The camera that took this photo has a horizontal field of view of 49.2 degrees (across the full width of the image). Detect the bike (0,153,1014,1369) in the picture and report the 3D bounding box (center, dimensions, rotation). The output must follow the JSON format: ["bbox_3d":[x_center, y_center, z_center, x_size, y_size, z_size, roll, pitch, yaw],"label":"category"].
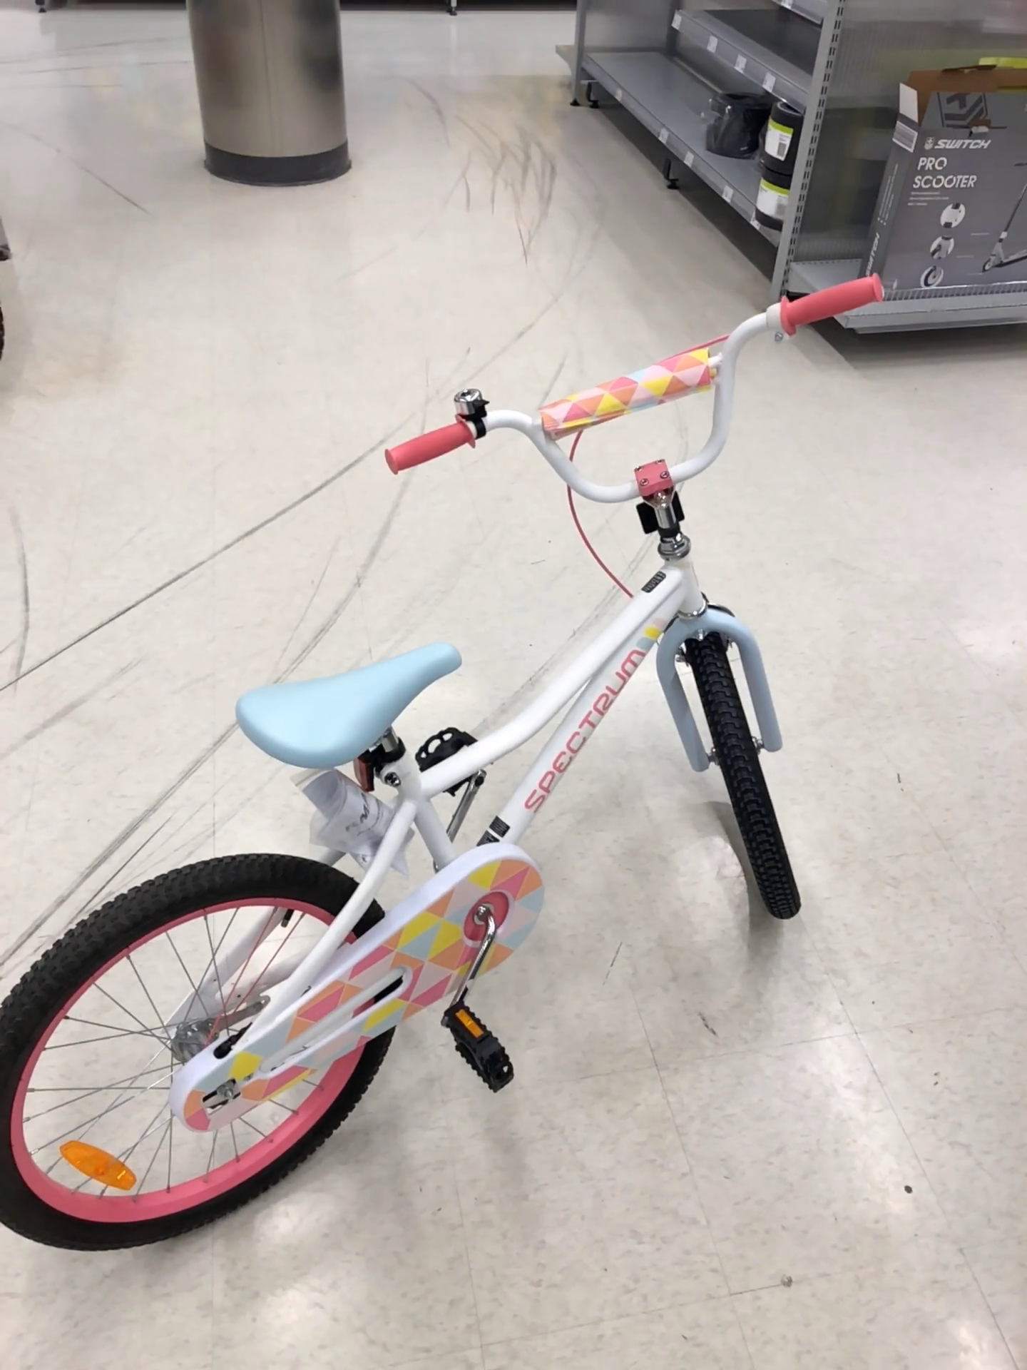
[{"bbox_3d":[-0.116,0.041,1.354,1.255,0.961,0.633,-30,51,-34],"label":"bike"}]
